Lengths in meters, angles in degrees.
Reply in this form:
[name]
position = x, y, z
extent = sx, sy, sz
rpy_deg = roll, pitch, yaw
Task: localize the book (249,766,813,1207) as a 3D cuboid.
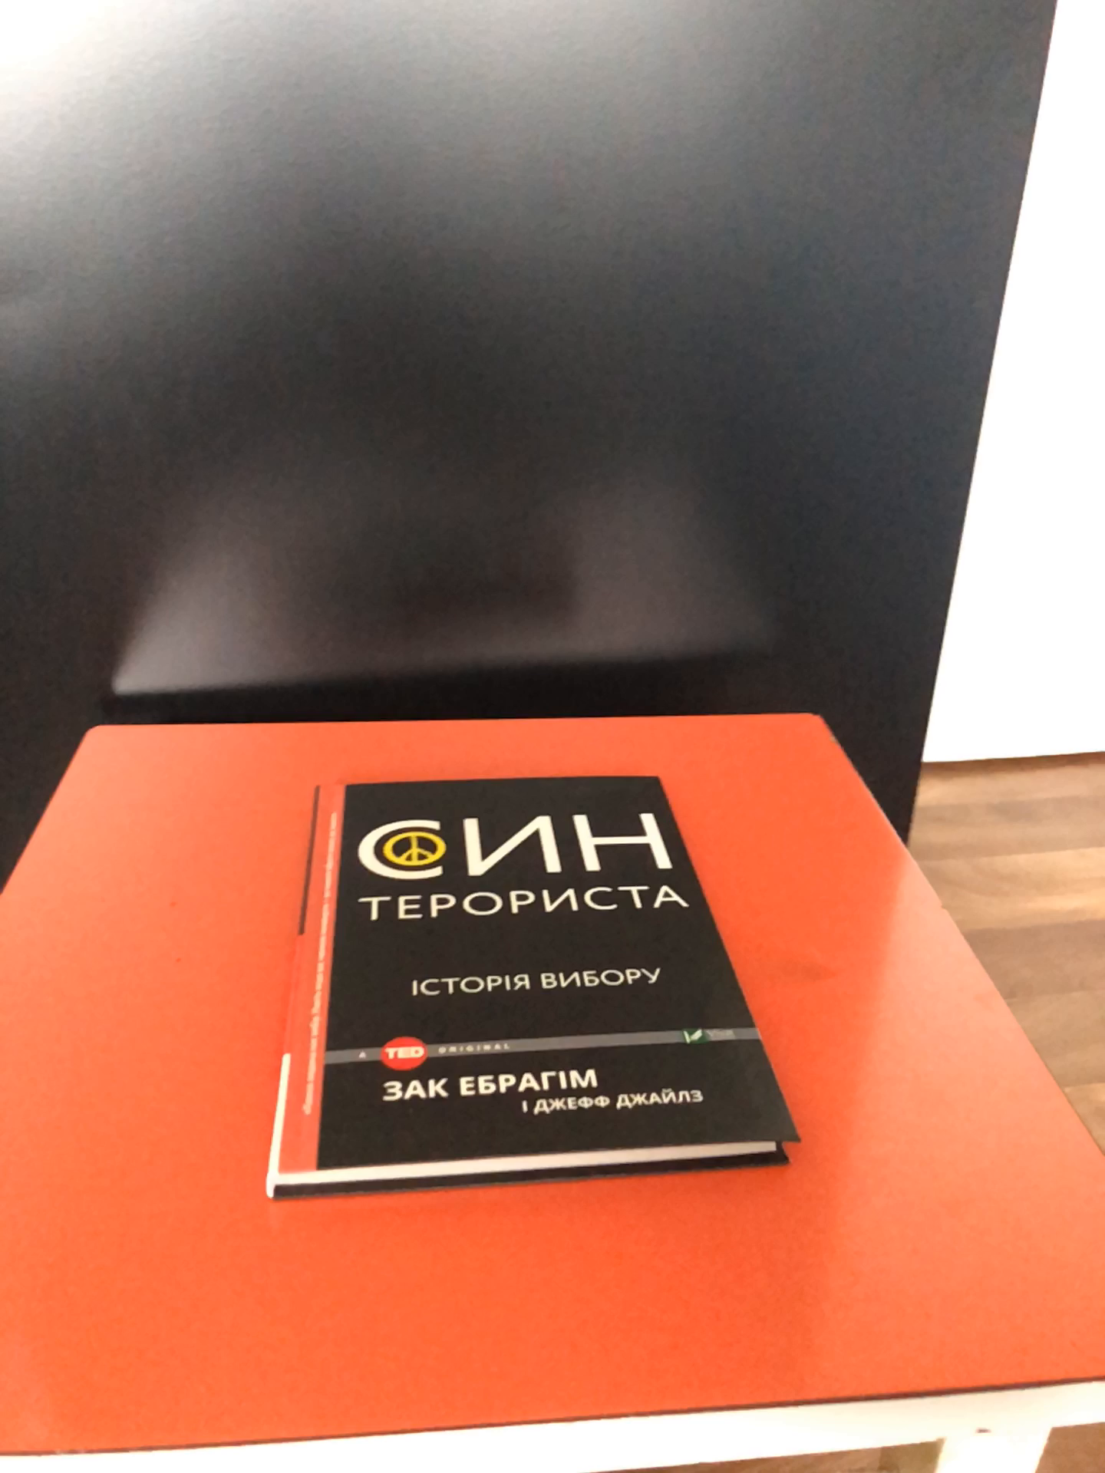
[book]
position = -0.015, 0.068, 0.414
extent = 0.150, 0.013, 0.207
rpy_deg = -1, 28, -6
